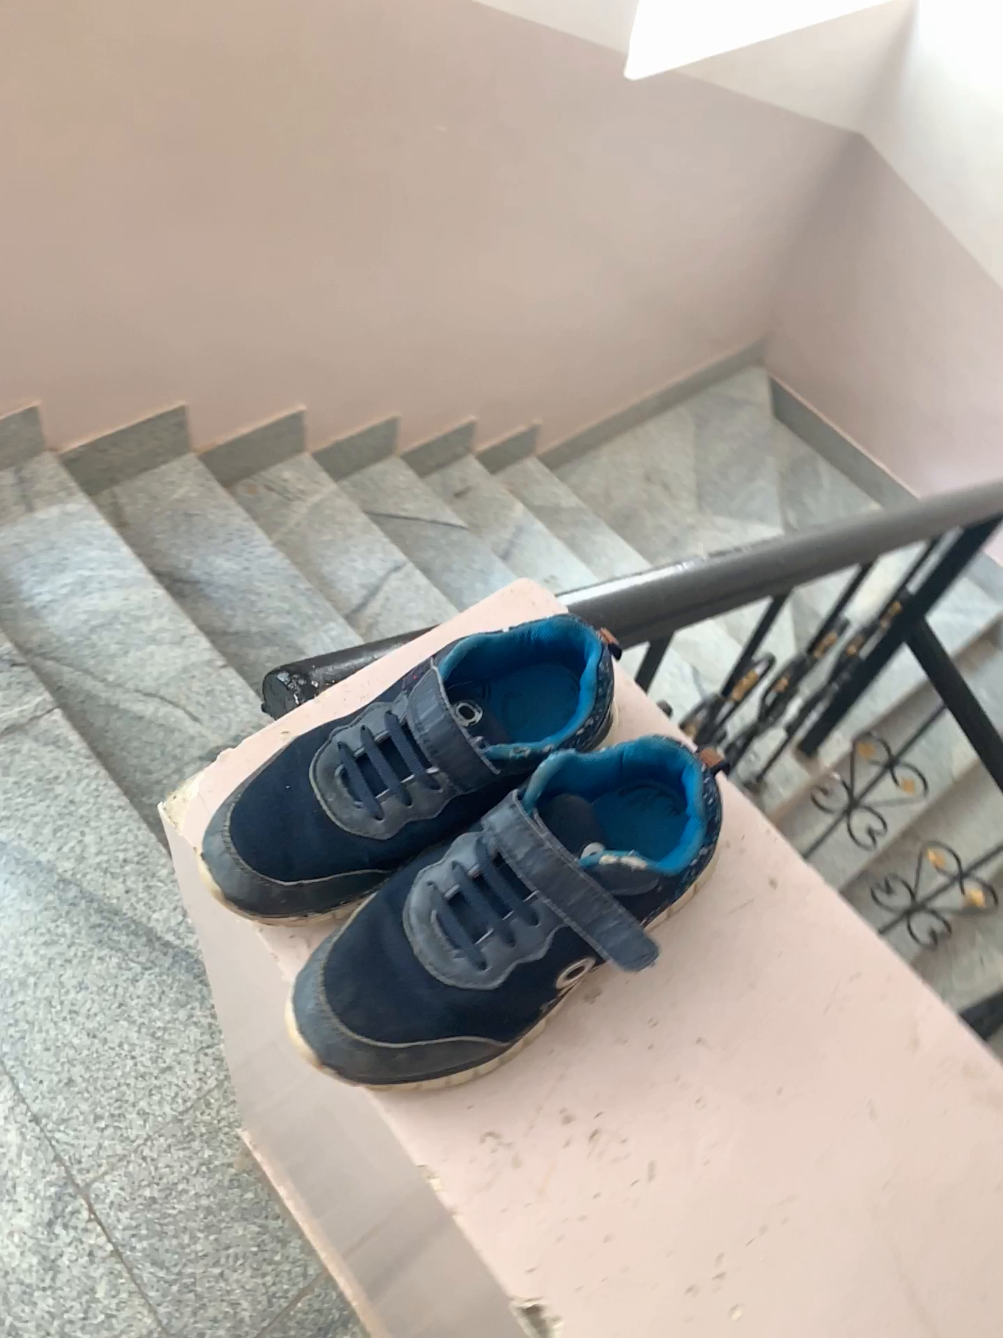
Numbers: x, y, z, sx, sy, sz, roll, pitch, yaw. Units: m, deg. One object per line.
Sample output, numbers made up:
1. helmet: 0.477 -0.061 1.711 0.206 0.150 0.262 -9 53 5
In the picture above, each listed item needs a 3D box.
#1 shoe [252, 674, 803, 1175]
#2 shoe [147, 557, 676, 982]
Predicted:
1. shoe: 0.013 0.107 0.467 0.221 0.079 0.100 -28 65 -26
2. shoe: -0.039 0.041 0.491 0.221 0.079 0.090 -25 64 -25
